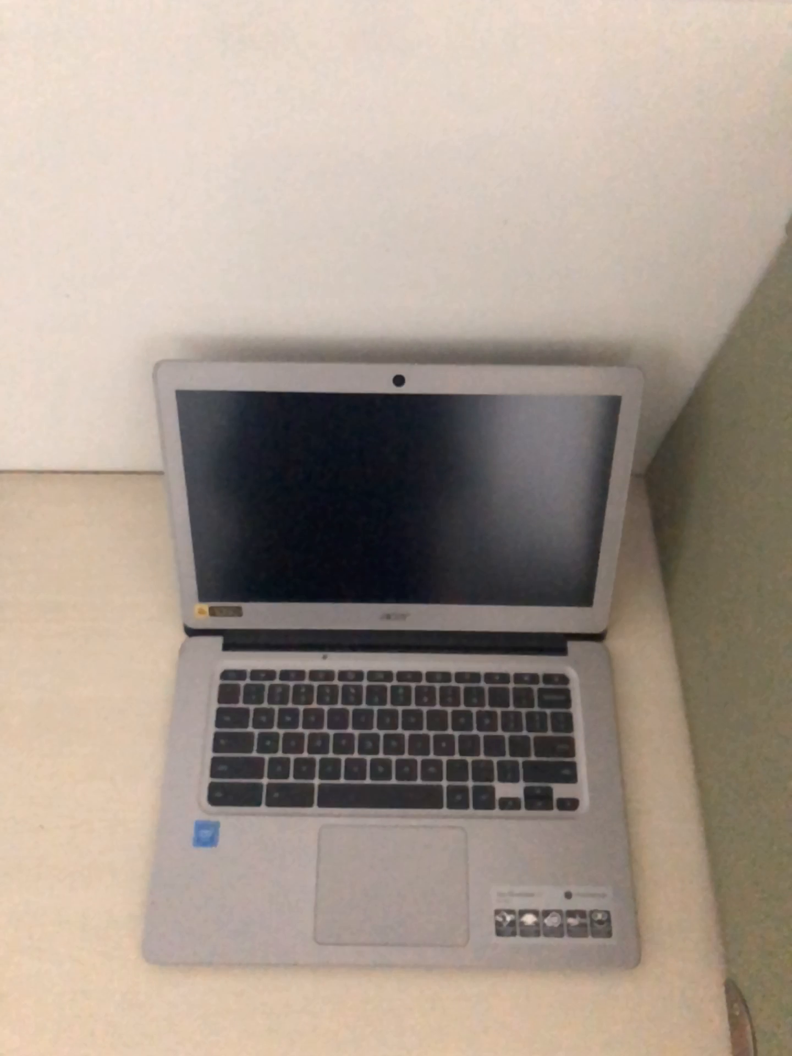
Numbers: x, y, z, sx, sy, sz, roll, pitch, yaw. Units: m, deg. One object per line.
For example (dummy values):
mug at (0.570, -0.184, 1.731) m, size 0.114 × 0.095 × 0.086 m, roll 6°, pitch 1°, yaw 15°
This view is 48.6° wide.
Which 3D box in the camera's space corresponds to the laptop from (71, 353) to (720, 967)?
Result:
laptop at (0.000, 0.088, 0.590) m, size 0.322 × 0.168 × 0.366 m, roll 1°, pitch 64°, yaw -1°
